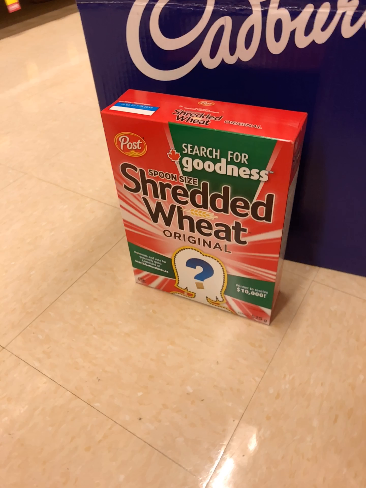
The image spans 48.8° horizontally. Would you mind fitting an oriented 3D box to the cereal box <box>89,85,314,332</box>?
[{"bbox_3d":[0.023,-0.034,0.486,0.210,0.268,0.070,15,46,21],"label":"cereal box"}]
